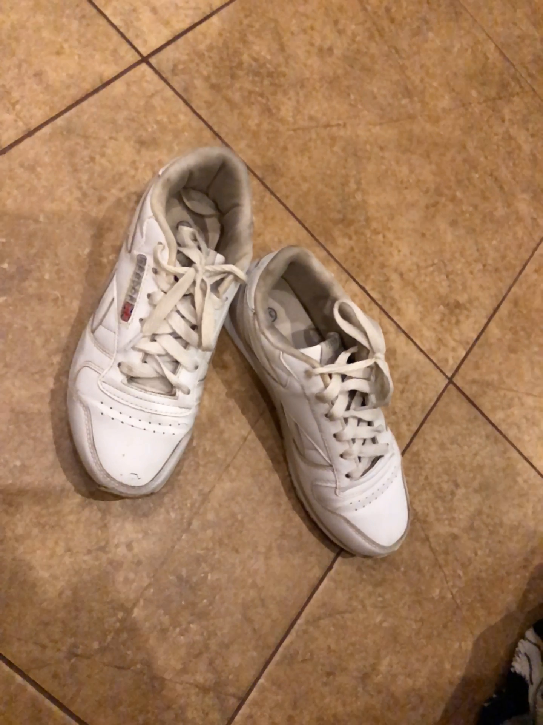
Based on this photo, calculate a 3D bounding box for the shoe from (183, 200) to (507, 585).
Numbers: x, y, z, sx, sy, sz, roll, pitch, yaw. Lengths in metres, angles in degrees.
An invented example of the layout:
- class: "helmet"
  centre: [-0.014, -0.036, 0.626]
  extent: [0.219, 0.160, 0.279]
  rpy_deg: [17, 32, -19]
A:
- class: "shoe"
  centre: [0.051, 0.023, 0.462]
  extent: [0.110, 0.100, 0.250]
  rpy_deg: [-27, 88, -29]

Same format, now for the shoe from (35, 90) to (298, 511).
- class: "shoe"
  centre: [-0.070, -0.038, 0.425]
  extent: [0.100, 0.100, 0.261]
  rpy_deg: [19, 68, -19]
